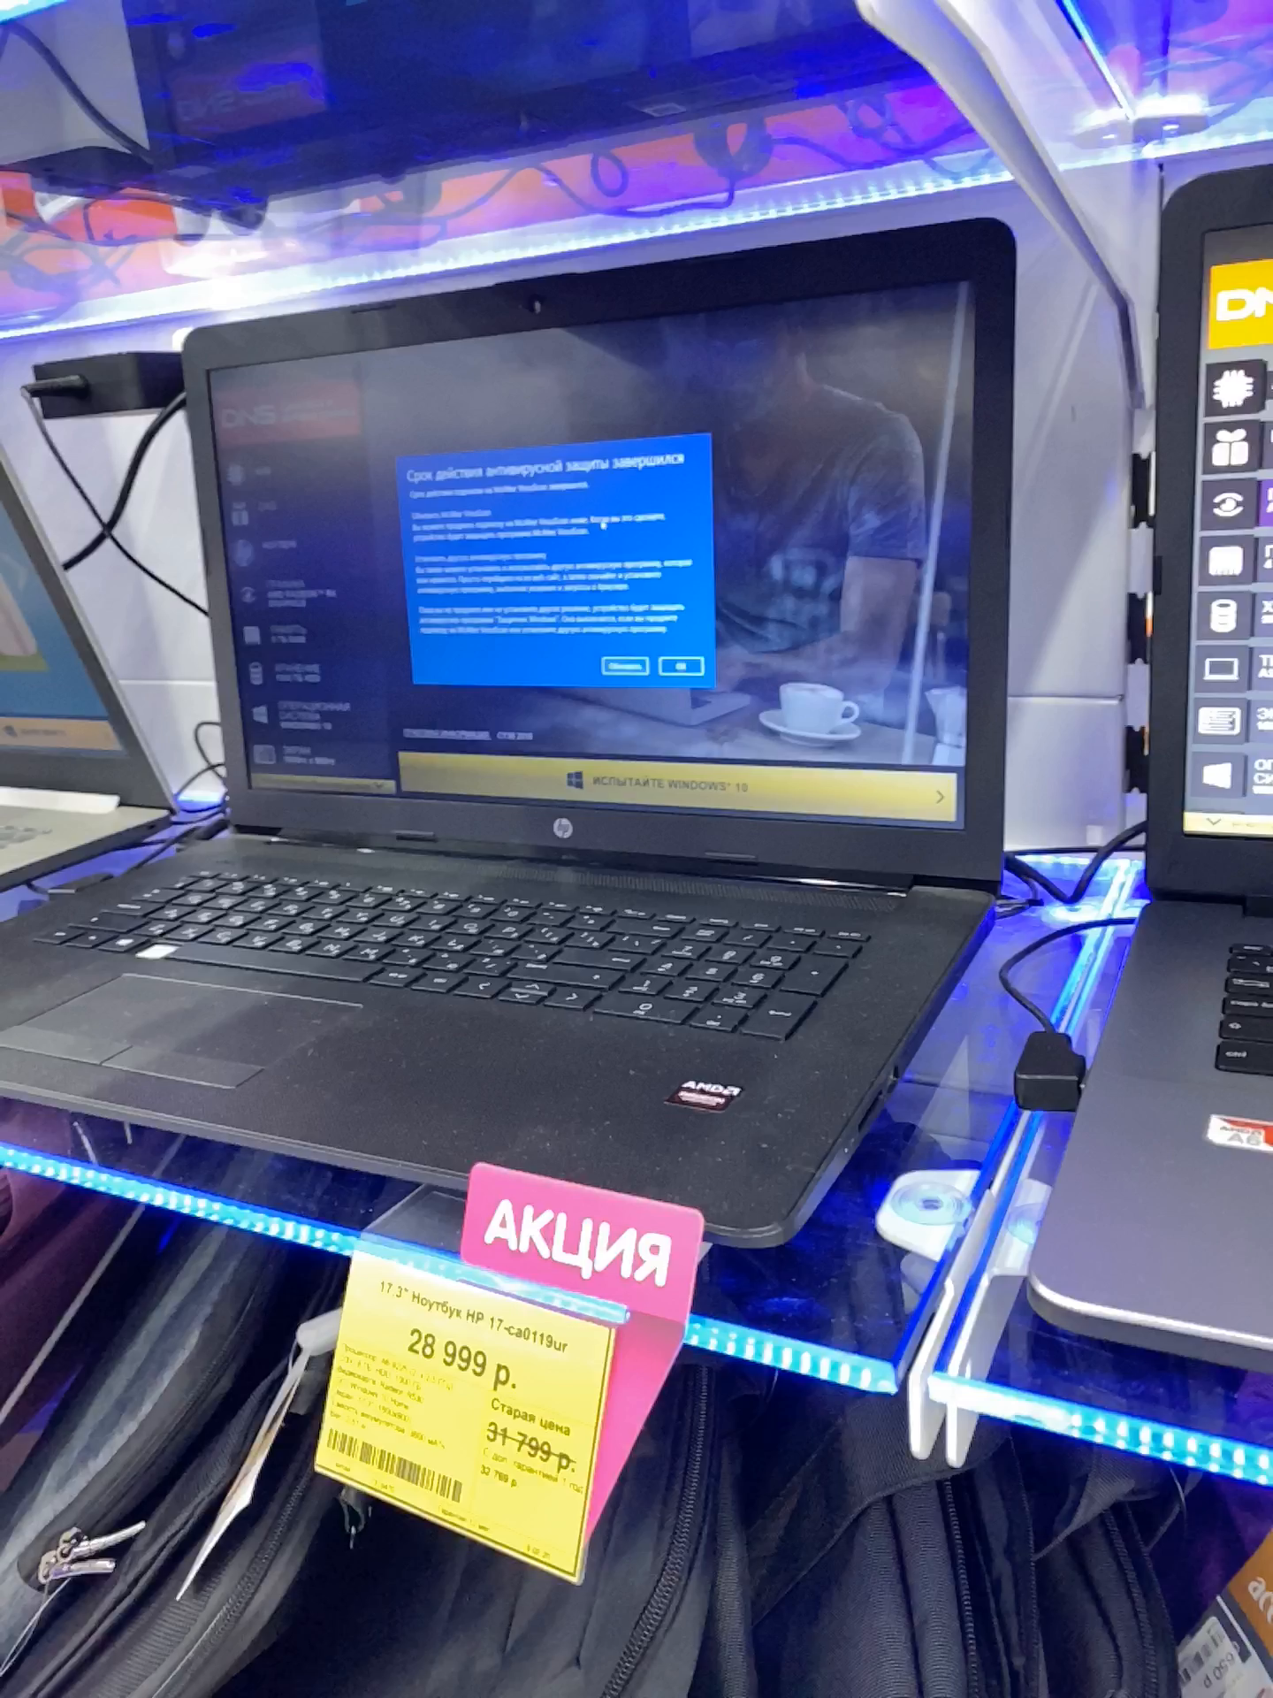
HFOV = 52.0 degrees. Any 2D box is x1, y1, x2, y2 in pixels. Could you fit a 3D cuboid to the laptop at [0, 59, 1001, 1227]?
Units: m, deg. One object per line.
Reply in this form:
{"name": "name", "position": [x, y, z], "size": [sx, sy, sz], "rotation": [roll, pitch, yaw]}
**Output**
{"name": "laptop", "position": [-0.099, -0.086, 0.506], "size": [0.420, 0.260, 0.294], "rotation": [4, 17, 25]}
